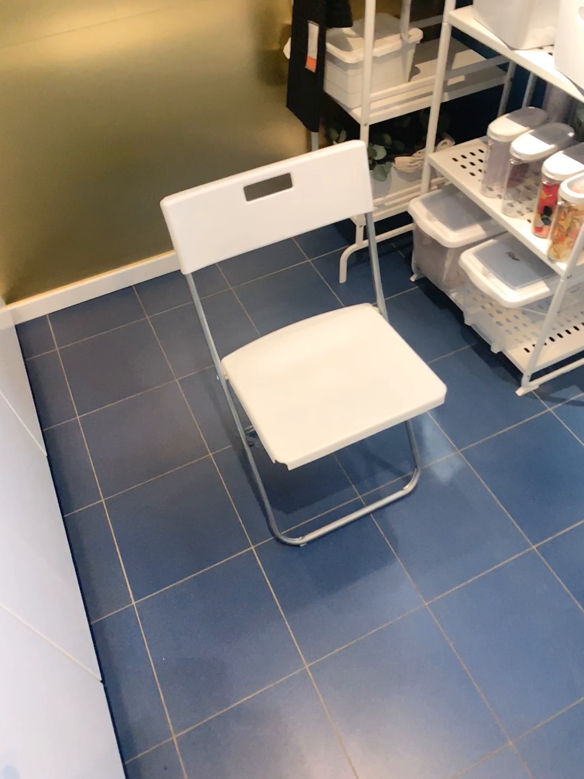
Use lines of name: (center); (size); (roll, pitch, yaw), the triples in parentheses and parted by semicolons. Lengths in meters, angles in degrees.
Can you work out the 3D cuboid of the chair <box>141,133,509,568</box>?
chair: (0.051, -0.049, 1.262); (0.460, 0.708, 0.451); (-22, 53, -13)
